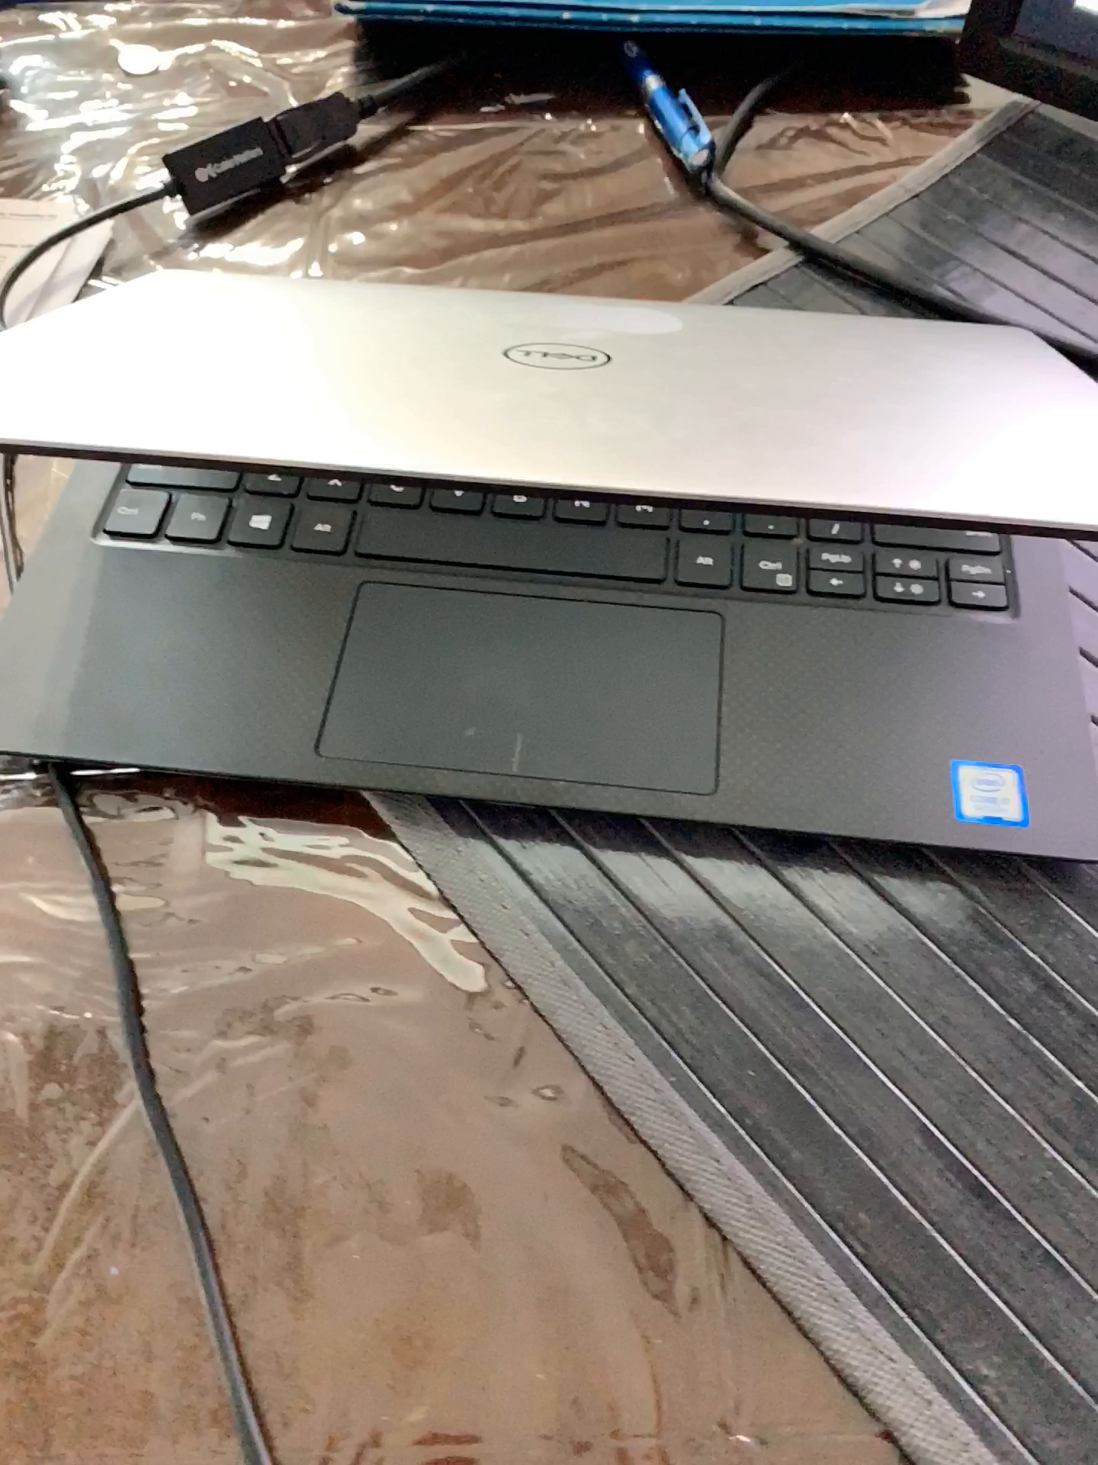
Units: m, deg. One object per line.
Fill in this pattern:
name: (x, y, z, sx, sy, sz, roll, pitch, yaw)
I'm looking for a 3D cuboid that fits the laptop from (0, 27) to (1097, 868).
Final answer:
laptop: (0.001, -0.083, 0.294, 0.290, 0.085, 0.185, 6, 57, 4)
